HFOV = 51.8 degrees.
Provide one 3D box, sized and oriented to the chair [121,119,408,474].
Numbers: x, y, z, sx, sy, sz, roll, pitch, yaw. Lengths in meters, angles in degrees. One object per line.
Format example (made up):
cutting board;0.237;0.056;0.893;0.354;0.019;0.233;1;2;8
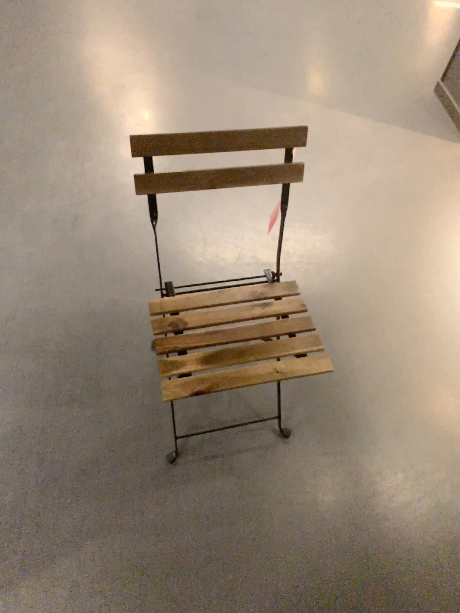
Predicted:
chair;0.002;0.012;1.156;0.420;0.698;0.501;-7;55;-12
